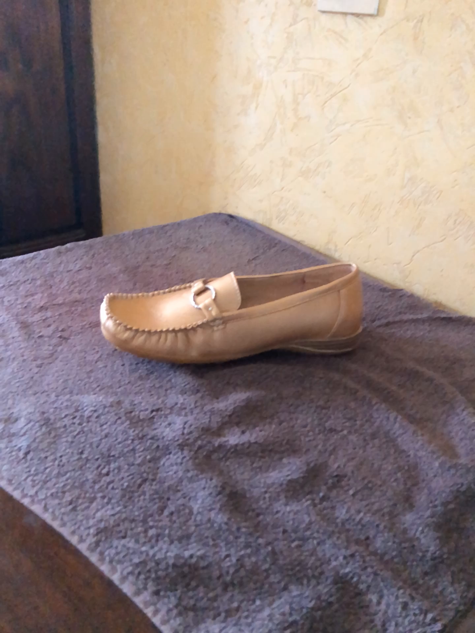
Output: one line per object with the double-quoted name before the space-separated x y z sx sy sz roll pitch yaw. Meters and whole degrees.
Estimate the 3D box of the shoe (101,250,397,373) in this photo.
"shoe" 0.007 -0.010 0.497 0.260 0.080 0.080 -2 29 -13
